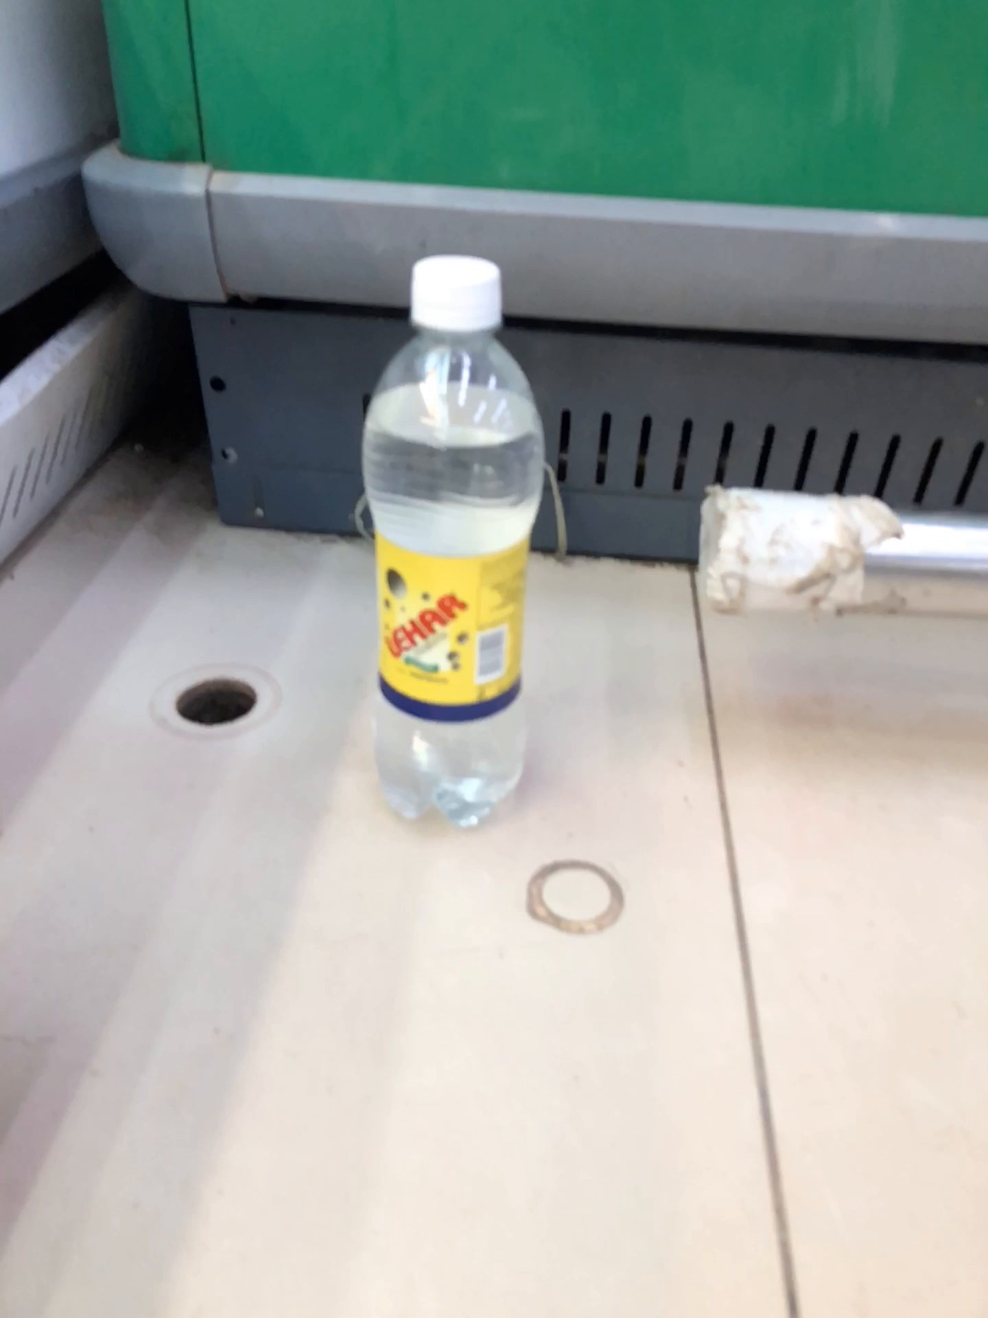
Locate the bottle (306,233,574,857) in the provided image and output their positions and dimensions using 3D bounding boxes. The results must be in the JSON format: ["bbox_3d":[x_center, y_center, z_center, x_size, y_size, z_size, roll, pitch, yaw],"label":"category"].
[{"bbox_3d":[-0.020,-0.038,0.426,0.070,0.228,0.071,2,33,-1],"label":"bottle"}]
